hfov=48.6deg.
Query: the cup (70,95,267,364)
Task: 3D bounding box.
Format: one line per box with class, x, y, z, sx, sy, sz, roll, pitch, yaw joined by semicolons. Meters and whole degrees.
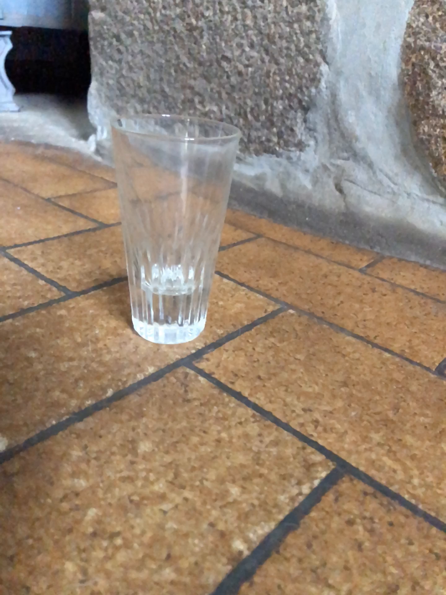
cup;-0.029;-0.042;0.272;0.070;0.119;0.070;4;27;-2
